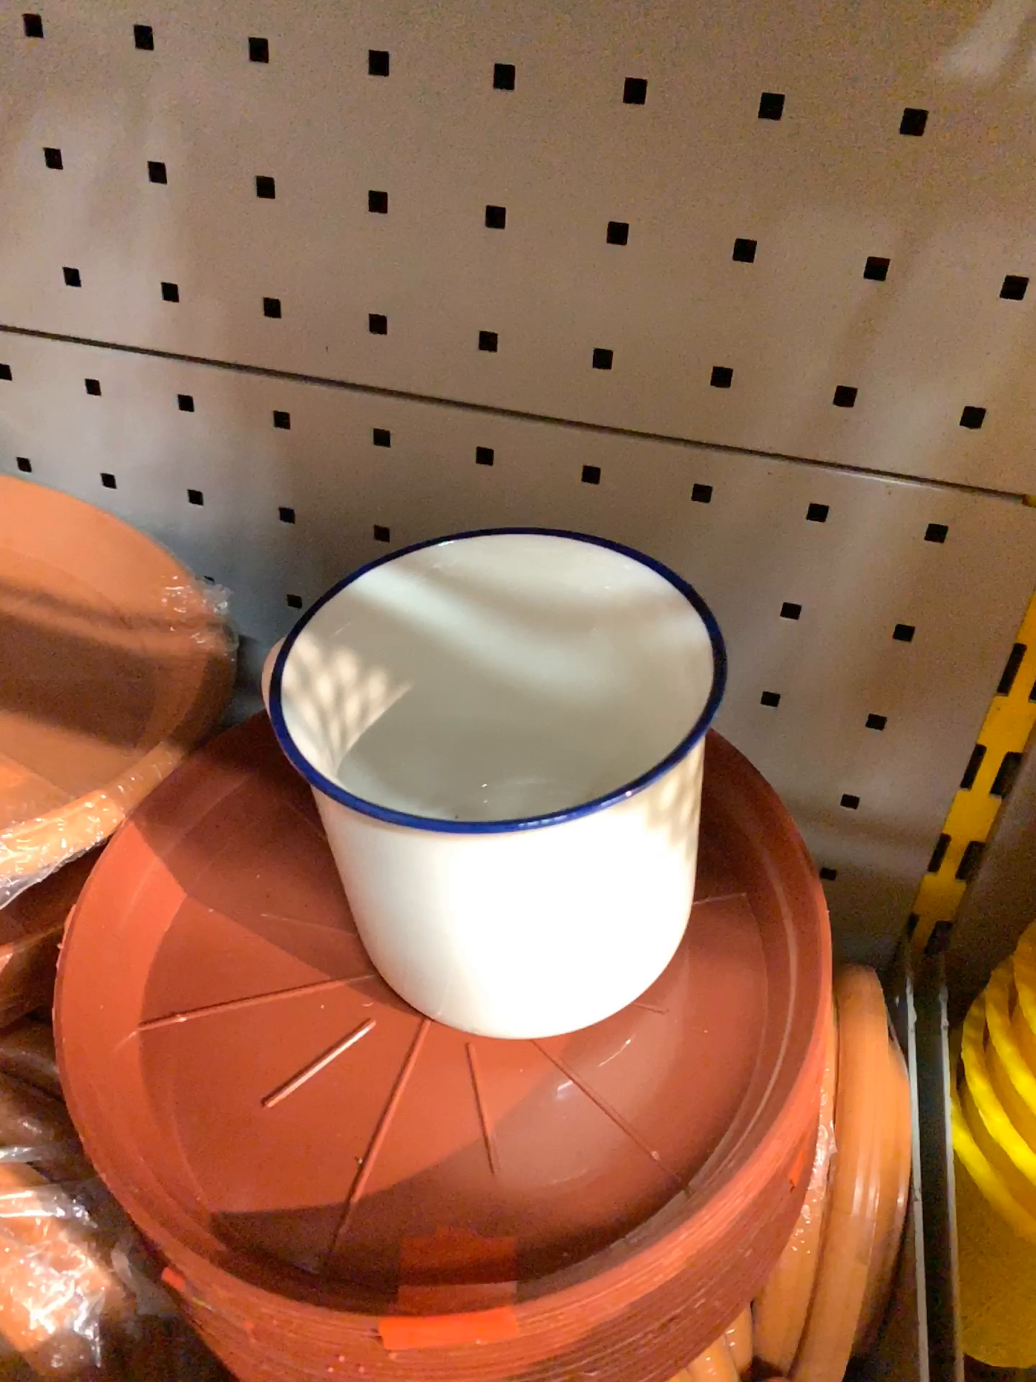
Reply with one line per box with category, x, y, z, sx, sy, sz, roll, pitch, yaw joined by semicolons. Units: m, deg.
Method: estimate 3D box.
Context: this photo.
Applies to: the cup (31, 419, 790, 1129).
cup;-0.017;0.013;0.242;0.120;0.090;0.090;19;50;21
